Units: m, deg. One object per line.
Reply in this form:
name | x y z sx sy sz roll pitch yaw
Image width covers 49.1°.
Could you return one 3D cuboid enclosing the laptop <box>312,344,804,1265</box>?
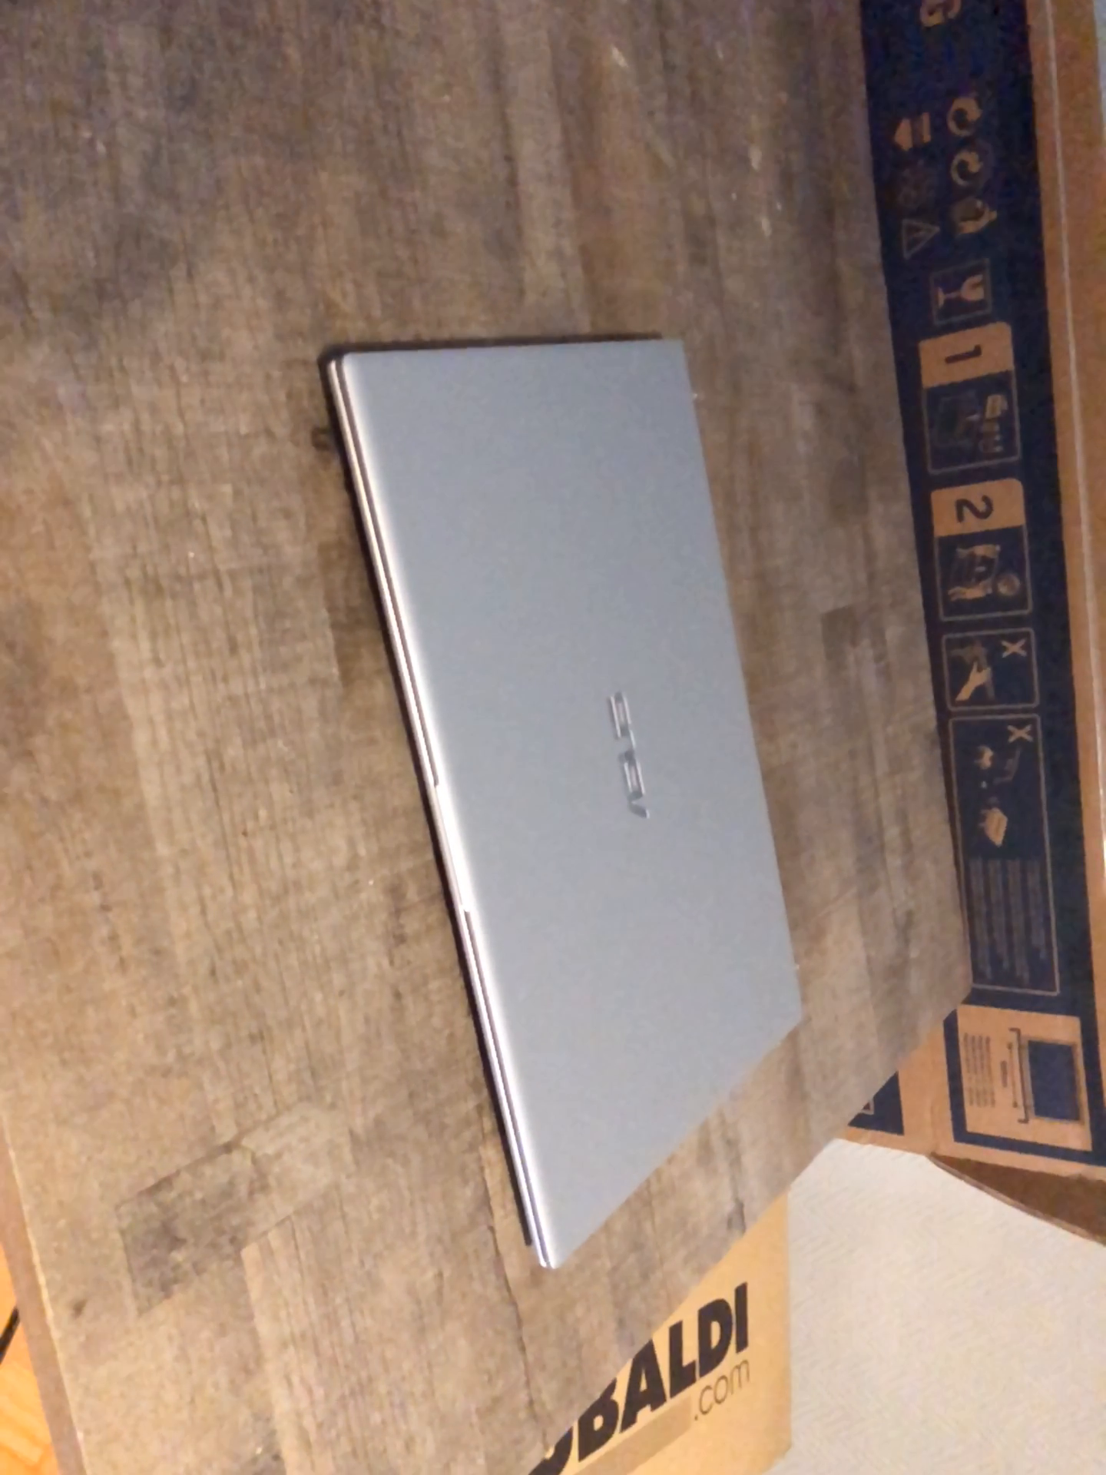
laptop | 0.026 0.011 0.539 0.229 0.013 0.354 -26 108 -49
